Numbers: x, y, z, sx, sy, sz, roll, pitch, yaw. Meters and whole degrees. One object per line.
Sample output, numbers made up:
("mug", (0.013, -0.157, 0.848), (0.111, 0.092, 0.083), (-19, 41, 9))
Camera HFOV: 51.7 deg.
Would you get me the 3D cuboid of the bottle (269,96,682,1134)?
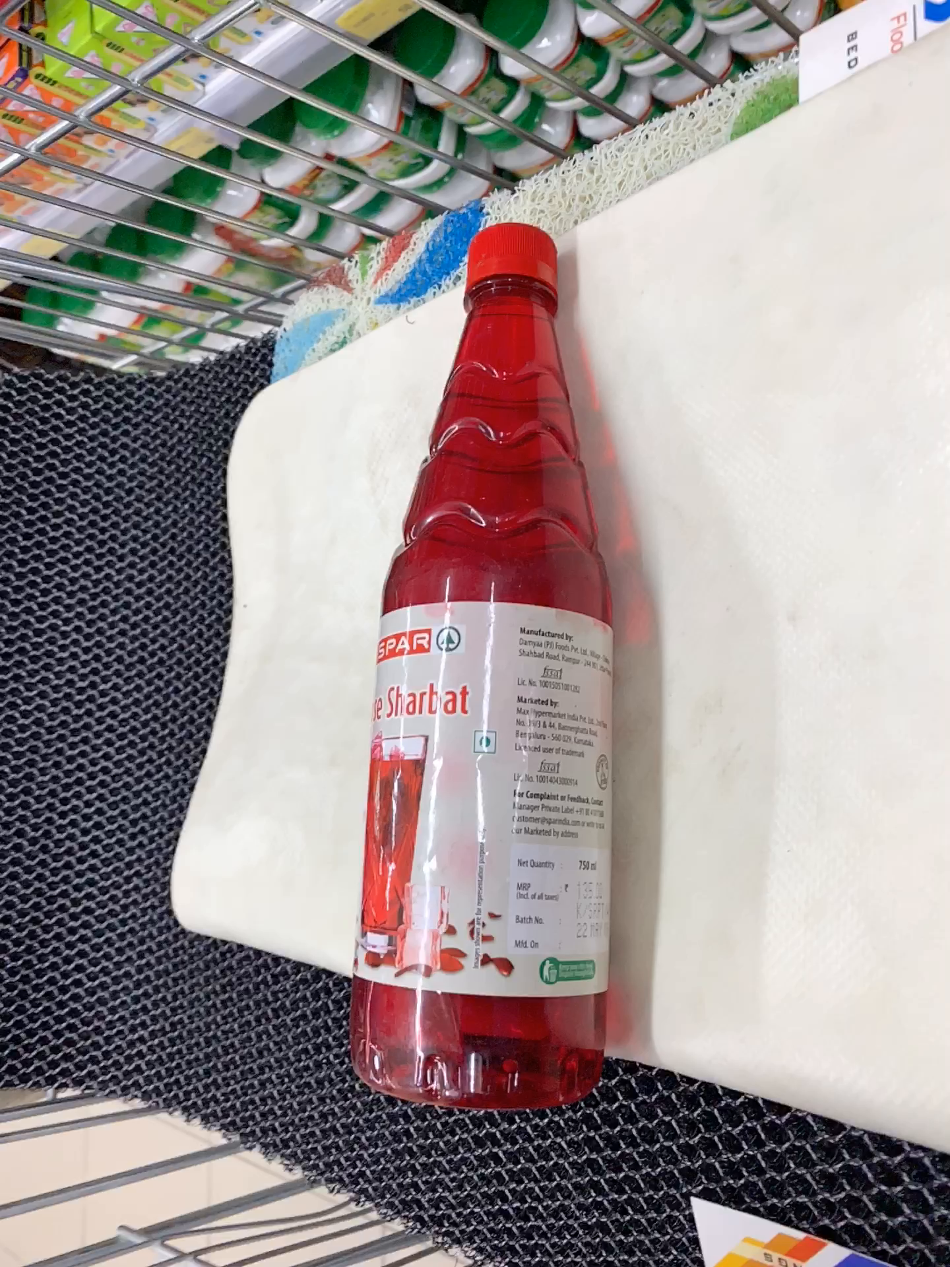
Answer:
("bottle", (0.004, -0.006, 0.260), (0.070, 0.070, 0.230), (-11, 72, 47))
